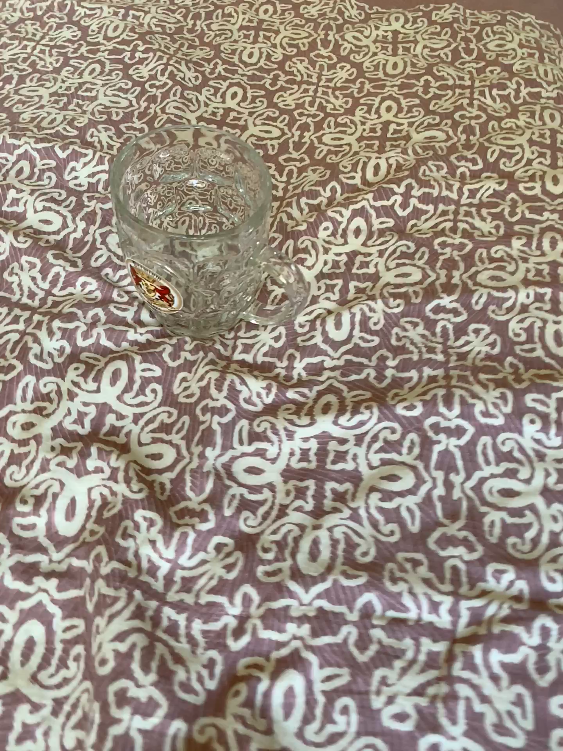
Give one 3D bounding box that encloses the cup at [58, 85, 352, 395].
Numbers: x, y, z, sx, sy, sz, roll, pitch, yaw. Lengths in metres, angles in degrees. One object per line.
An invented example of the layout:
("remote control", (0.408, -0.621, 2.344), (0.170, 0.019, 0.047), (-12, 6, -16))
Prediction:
("cup", (-0.039, -0.077, 0.343), (0.120, 0.109, 0.090), (31, 65, 16))
